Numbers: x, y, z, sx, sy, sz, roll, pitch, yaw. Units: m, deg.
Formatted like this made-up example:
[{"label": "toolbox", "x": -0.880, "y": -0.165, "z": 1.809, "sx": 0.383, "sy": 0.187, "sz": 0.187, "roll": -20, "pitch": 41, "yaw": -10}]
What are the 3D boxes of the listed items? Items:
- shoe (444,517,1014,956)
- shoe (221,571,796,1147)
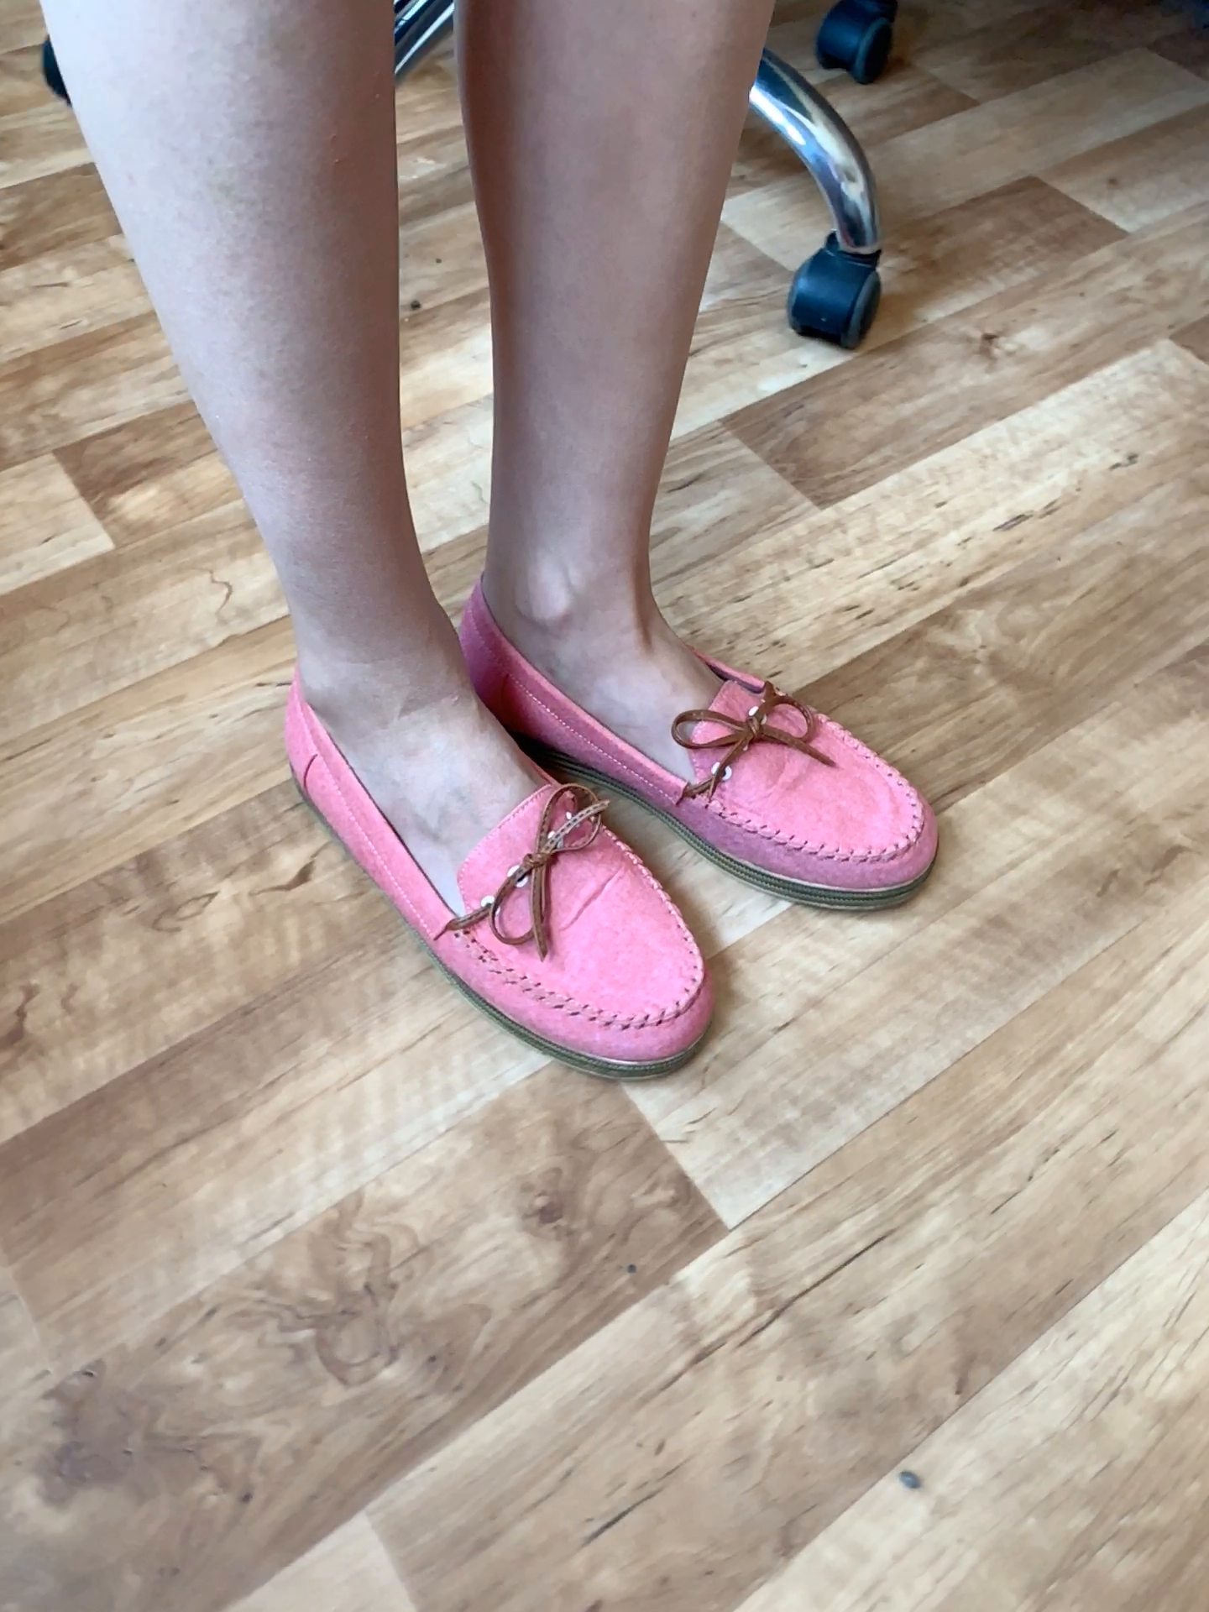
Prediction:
[{"label": "shoe", "x": 0.052, "y": -0.040, "z": 0.592, "sx": 0.250, "sy": 0.060, "sz": 0.090, "roll": 30, "pitch": 60, "yaw": 18}, {"label": "shoe", "x": -0.049, "y": 0.012, "z": 0.548, "sx": 0.100, "sy": 0.060, "sz": 0.260, "roll": -36, "pitch": 63, "yaw": -23}]
